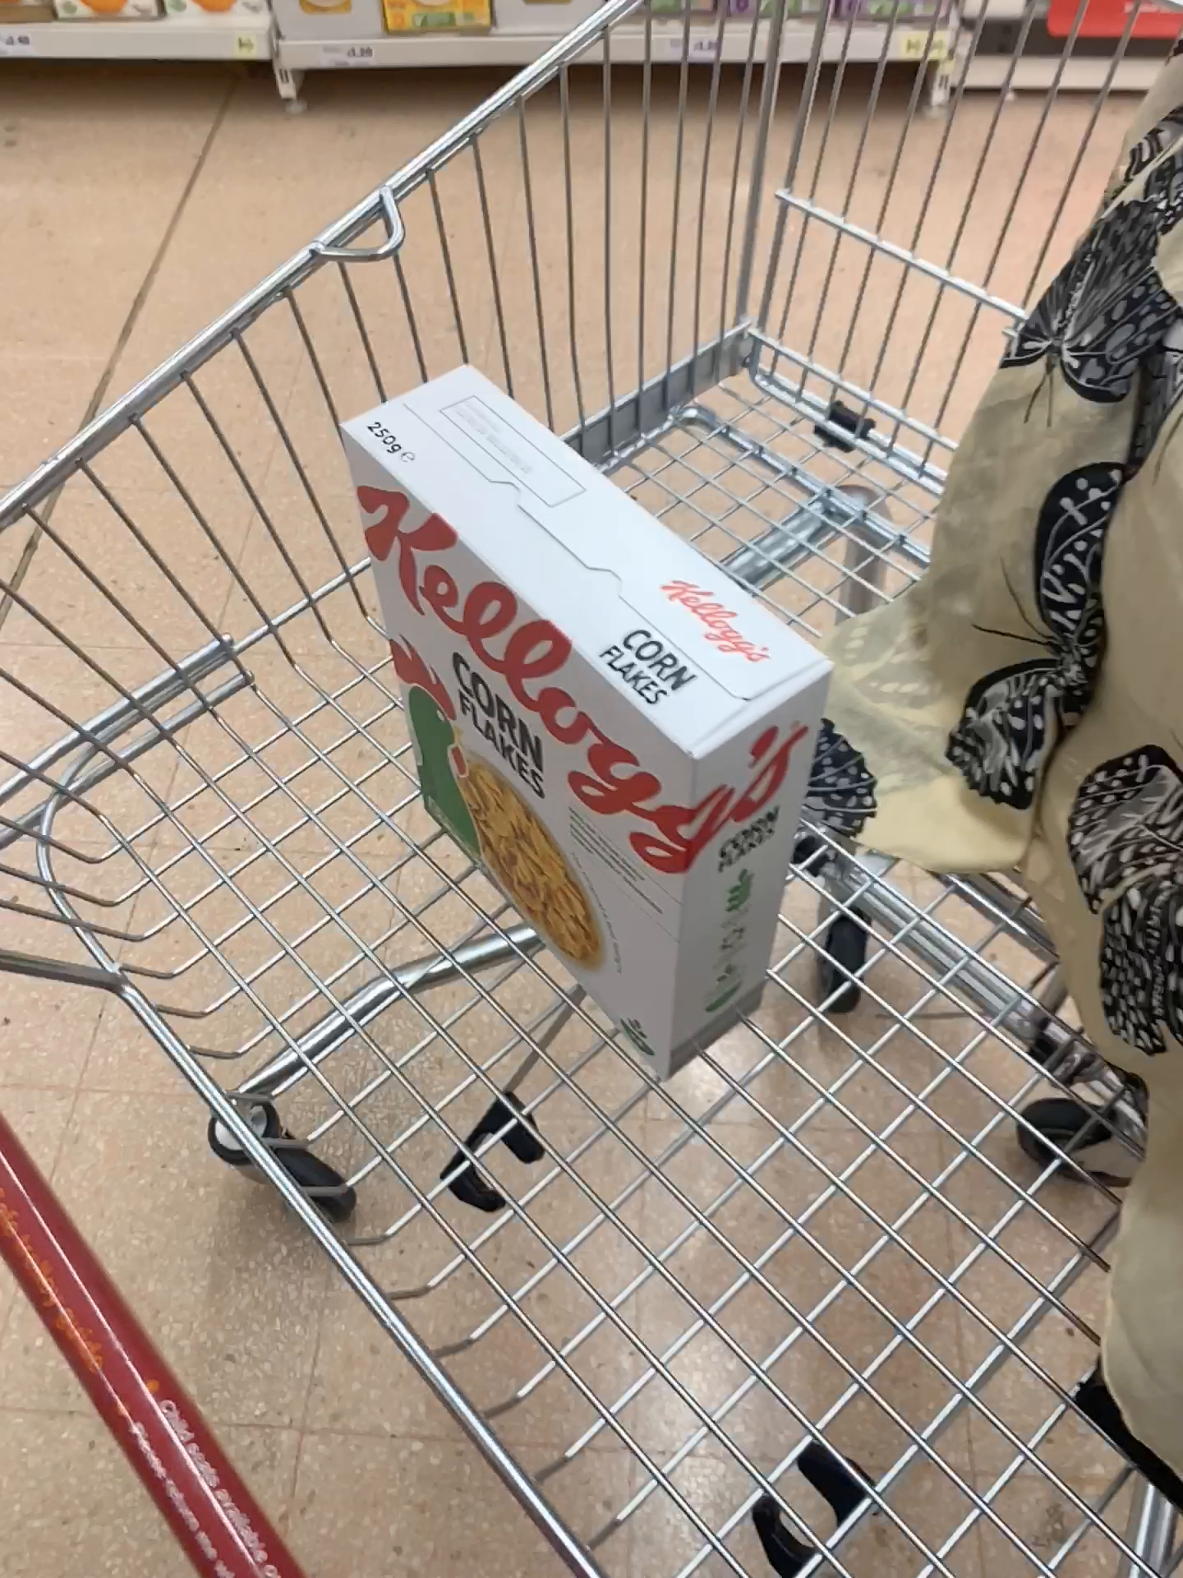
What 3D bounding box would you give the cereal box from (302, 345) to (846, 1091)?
[{"bbox_3d":[-0.011,-0.015,0.482,0.060,0.238,0.201,-35,62,-20],"label":"cereal box"}]
